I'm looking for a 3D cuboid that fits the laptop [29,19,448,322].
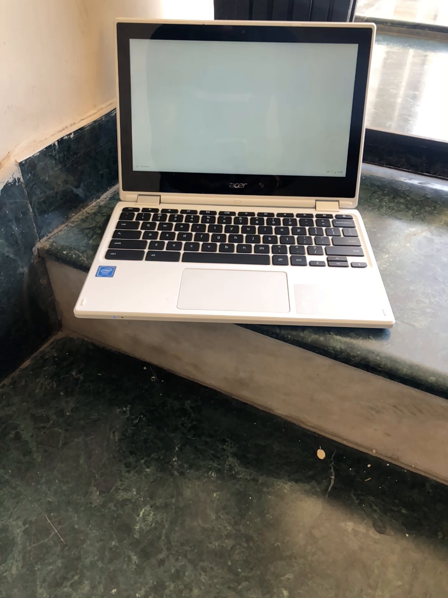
[{"bbox_3d":[0.015,-0.142,0.482,0.278,0.178,0.273,2,39,1],"label":"laptop"}]
